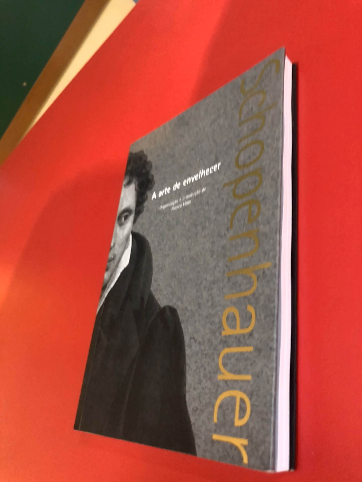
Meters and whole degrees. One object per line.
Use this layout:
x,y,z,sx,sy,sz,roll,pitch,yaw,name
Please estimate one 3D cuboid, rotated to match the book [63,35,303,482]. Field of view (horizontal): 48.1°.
-0.001,0.004,0.217,0.137,0.017,0.196,-17,57,45,book
